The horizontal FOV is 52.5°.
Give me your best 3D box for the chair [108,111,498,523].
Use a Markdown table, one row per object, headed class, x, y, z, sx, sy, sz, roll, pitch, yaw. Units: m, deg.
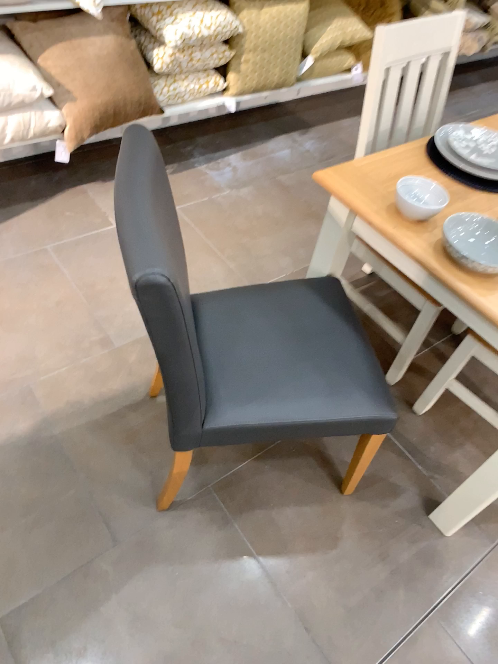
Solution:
| class | x | y | z | sx | sy | sz | roll | pitch | yaw |
| --- | --- | --- | --- | --- | --- | --- | --- | --- | --- |
| chair | 0.021 | 0.025 | 1.251 | 0.650 | 0.907 | 0.479 | -3 | 50 | -13 |
